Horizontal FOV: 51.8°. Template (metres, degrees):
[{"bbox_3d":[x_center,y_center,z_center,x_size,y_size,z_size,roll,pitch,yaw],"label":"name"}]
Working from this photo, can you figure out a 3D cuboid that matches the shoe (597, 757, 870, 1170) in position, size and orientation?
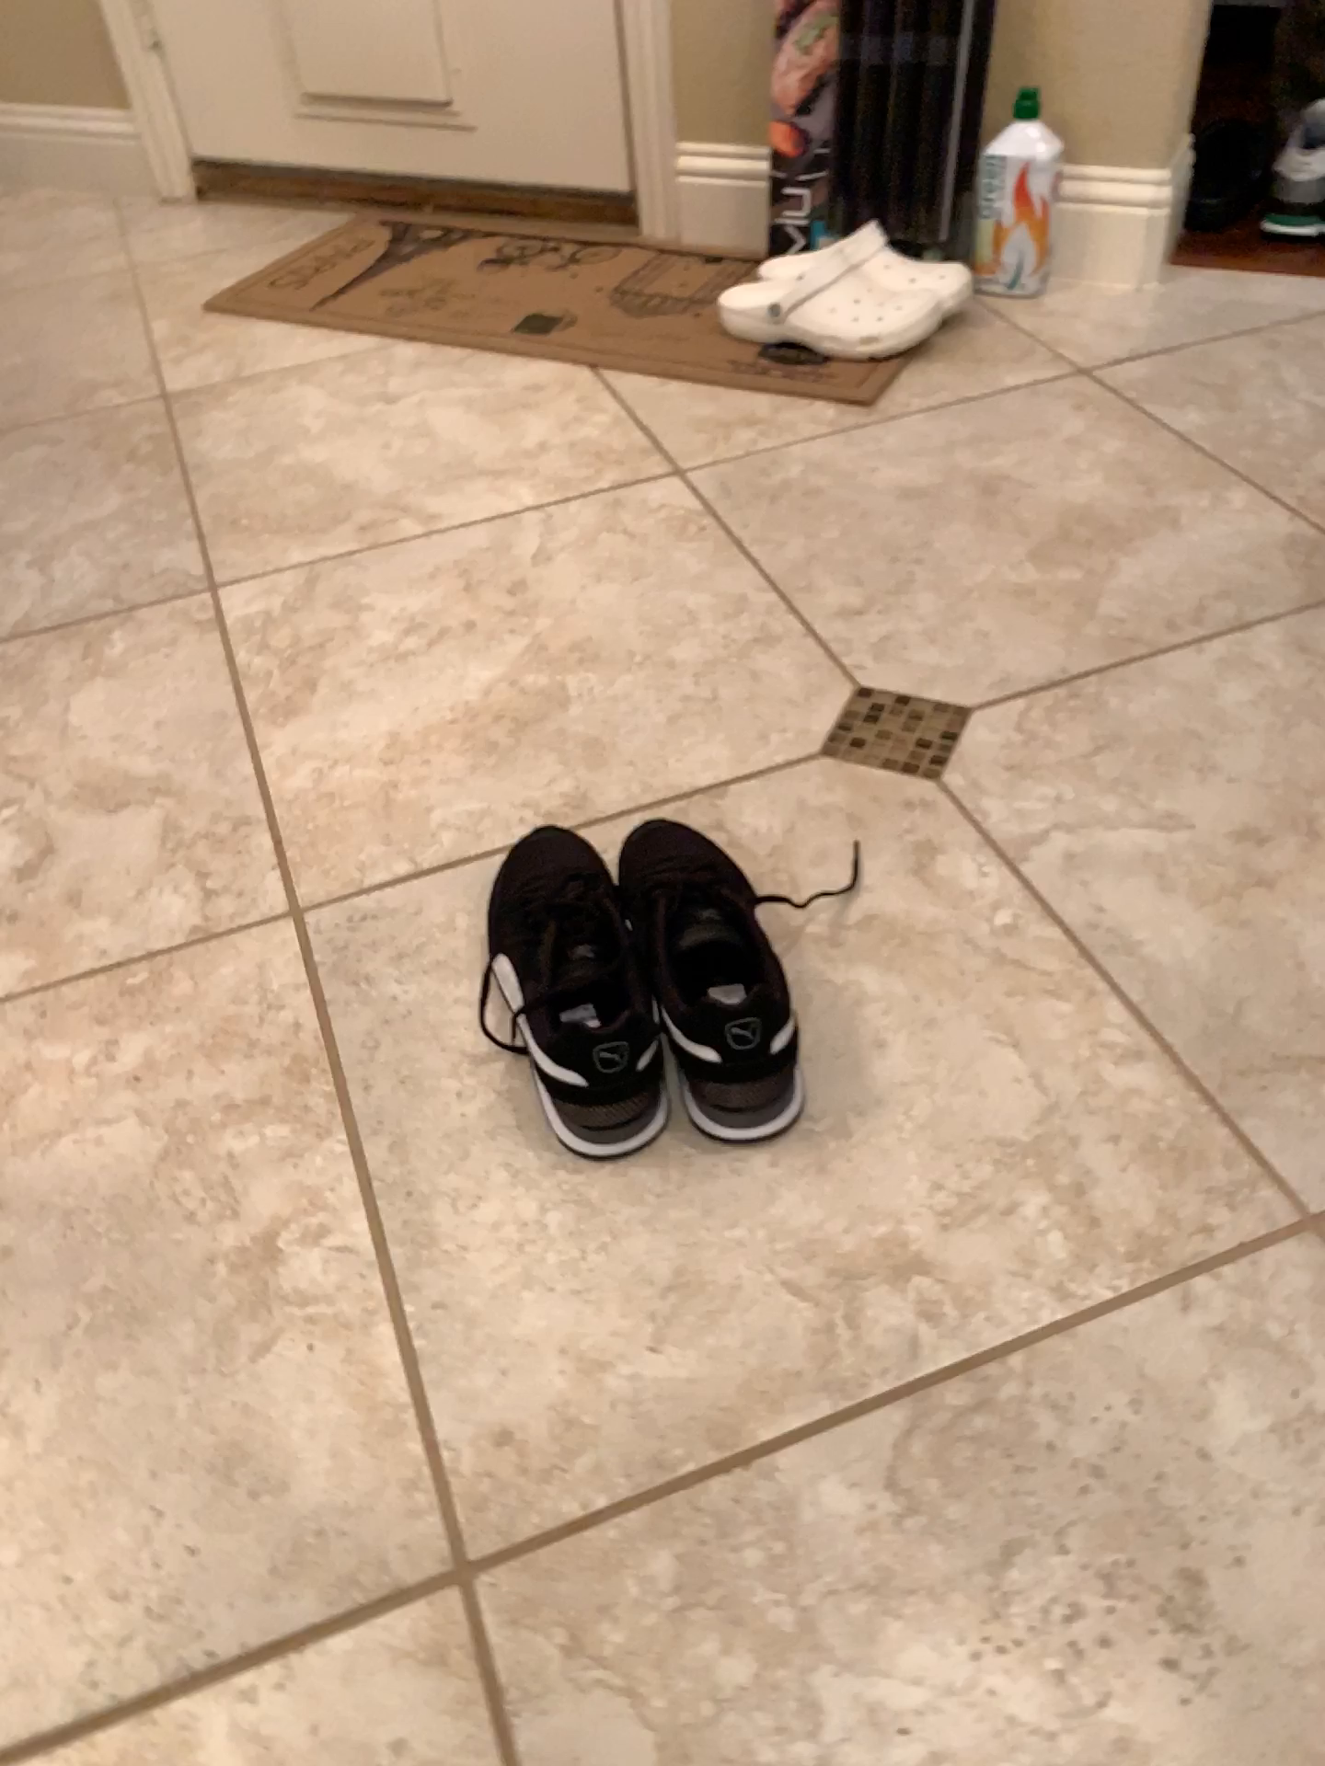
[{"bbox_3d":[0.040,0.043,0.917,0.108,0.095,0.270,-12,44,-7],"label":"shoe"}]

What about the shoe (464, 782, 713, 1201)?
[{"bbox_3d":[-0.054,0.061,0.908,0.108,0.095,0.270,-11,44,-8],"label":"shoe"}]
